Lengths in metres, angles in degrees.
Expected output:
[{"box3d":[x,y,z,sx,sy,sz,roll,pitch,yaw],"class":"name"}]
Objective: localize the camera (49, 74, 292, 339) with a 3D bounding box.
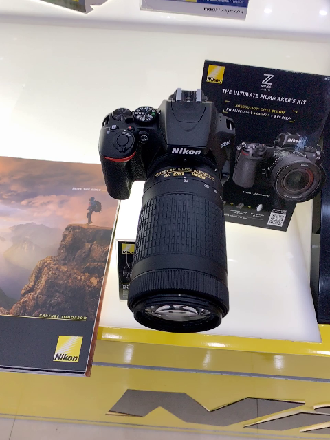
[{"box3d":[0.002,-0.016,0.262,0.120,0.100,0.181,1,53,-1],"class":"camera"}]
